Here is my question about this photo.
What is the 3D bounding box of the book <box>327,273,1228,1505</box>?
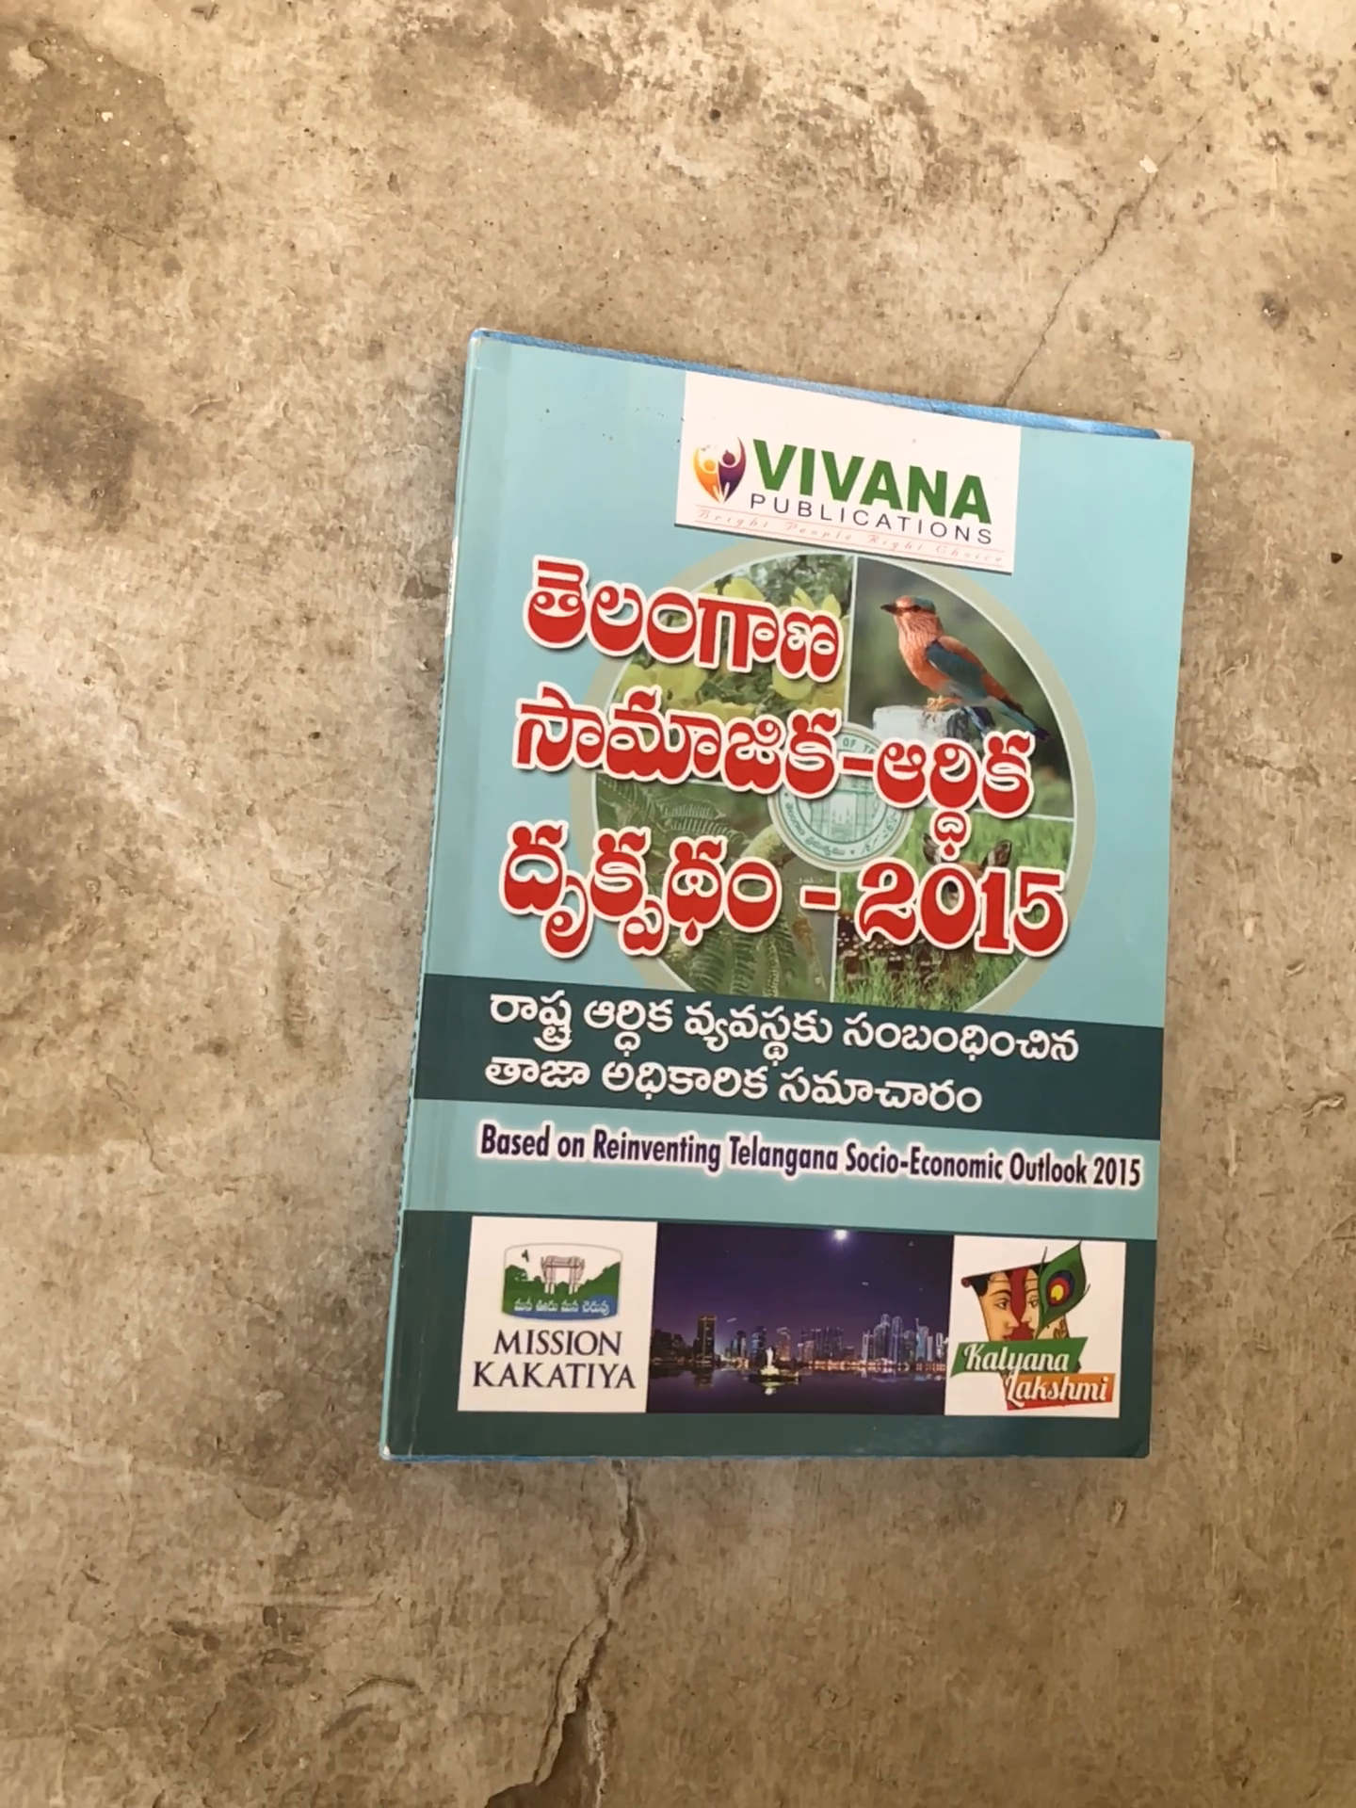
[{"bbox_3d":[0.030,0.001,0.363,0.200,0.030,0.270,5,84,-12],"label":"book"}]
